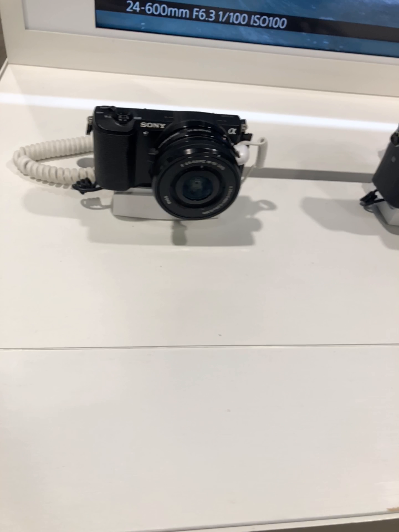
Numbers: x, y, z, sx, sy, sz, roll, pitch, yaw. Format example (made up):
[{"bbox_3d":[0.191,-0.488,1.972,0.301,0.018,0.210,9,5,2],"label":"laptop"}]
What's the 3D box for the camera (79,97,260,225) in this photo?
[{"bbox_3d":[-0.023,-0.074,0.319,0.113,0.060,0.062,1,46,-8],"label":"camera"}]
